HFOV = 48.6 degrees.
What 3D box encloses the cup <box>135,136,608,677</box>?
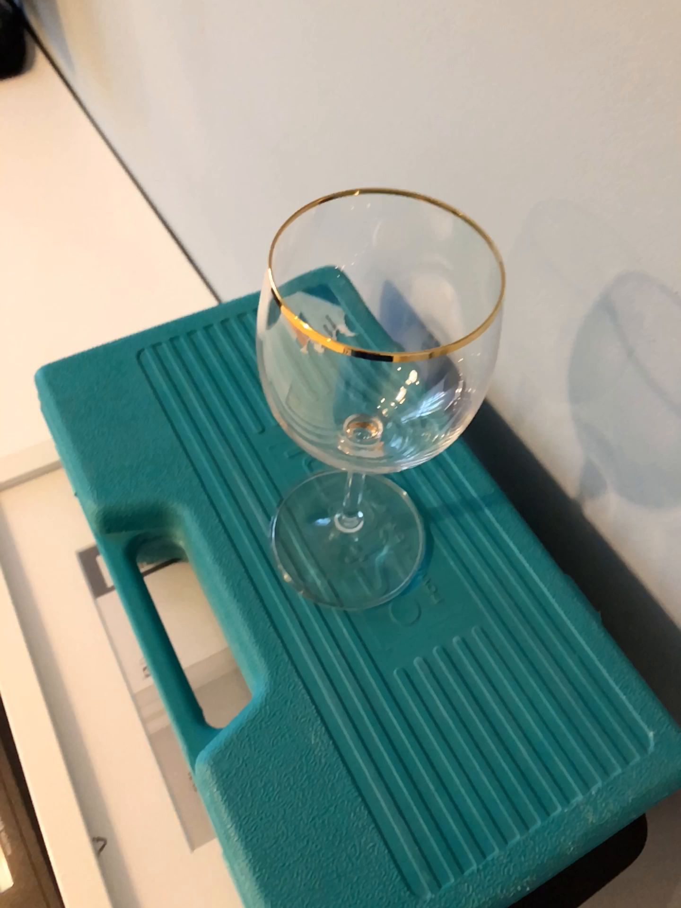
[{"bbox_3d":[0.003,-0.008,0.282,0.100,0.159,0.100,1,57,-2],"label":"cup"}]
